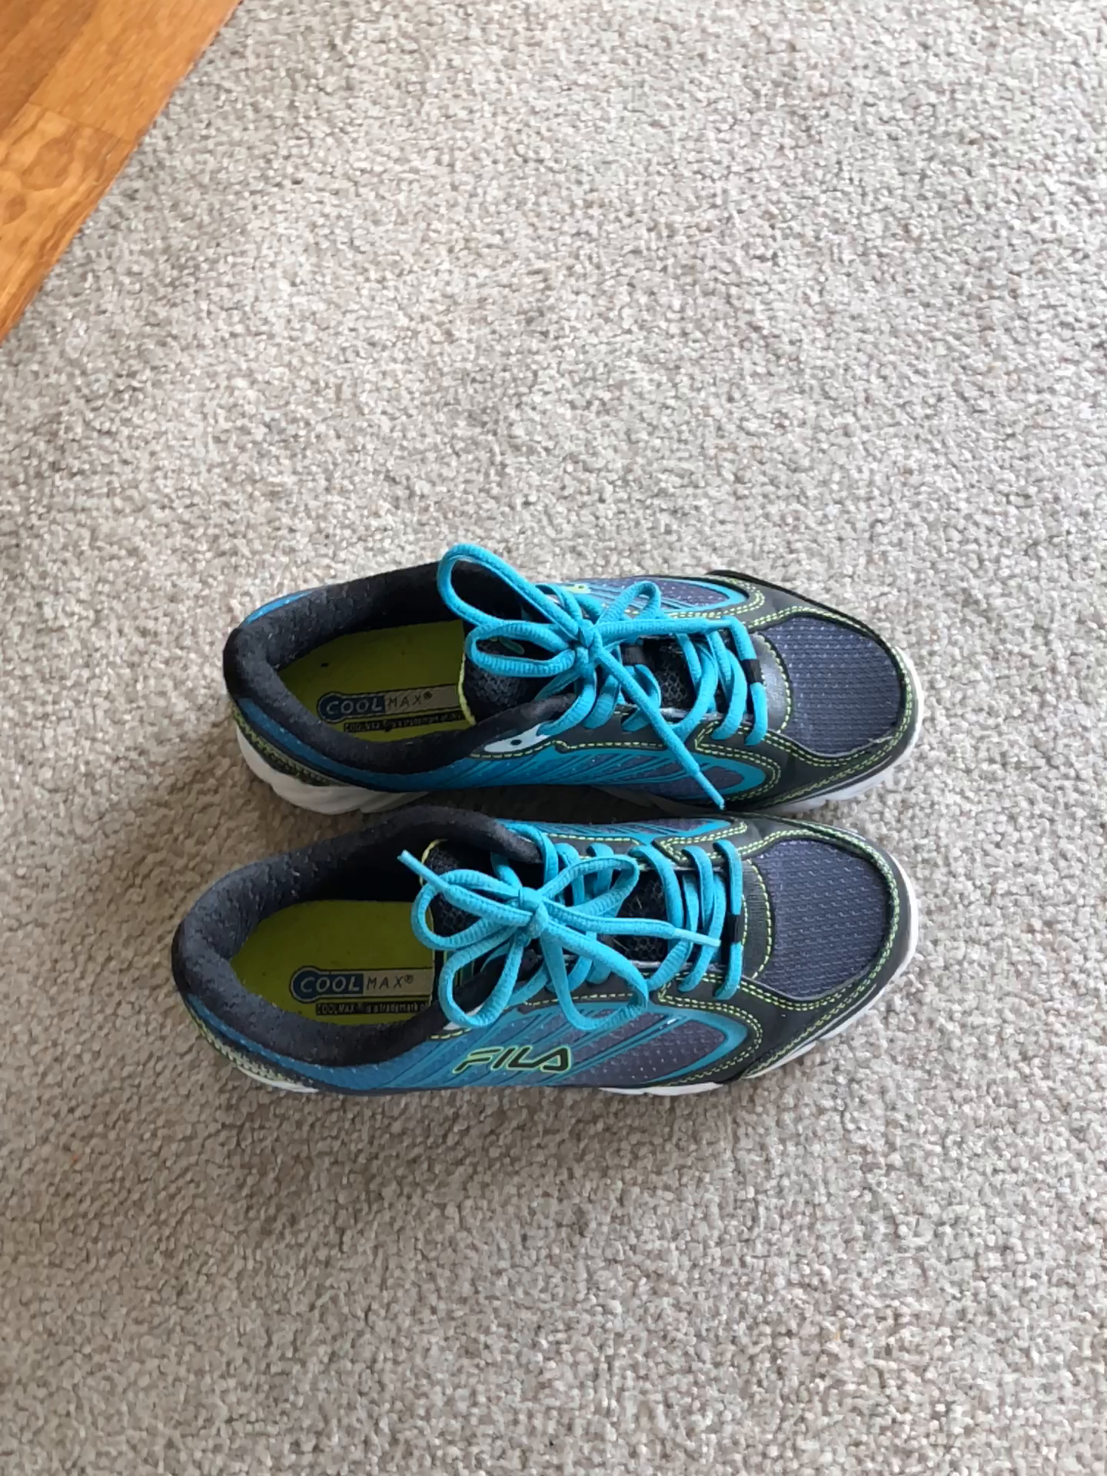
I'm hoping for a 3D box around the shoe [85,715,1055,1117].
[{"bbox_3d":[0.004,0.067,0.414,0.271,0.119,0.105,-2,70,1],"label":"shoe"}]

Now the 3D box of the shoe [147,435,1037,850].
[{"bbox_3d":[0.010,-0.028,0.447,0.274,0.119,0.102,-3,72,0],"label":"shoe"}]
